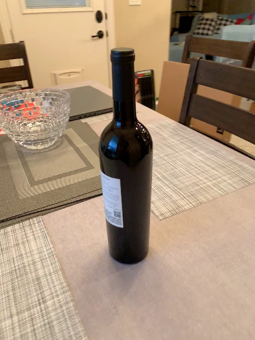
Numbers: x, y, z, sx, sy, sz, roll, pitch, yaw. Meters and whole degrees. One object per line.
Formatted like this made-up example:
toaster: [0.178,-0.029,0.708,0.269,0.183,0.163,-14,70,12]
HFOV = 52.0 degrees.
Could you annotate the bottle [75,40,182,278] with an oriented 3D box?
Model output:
bottle: [0.003,0.000,0.381,0.090,0.328,0.084,-1,32,1]
